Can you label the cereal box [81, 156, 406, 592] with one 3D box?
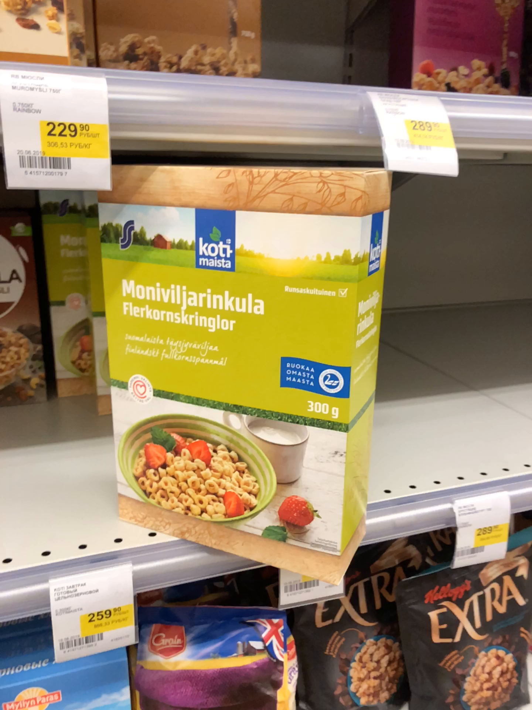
[{"bbox_3d":[-0.018,0.002,0.402,0.190,0.259,0.070,8,18,24],"label":"cereal box"}]
